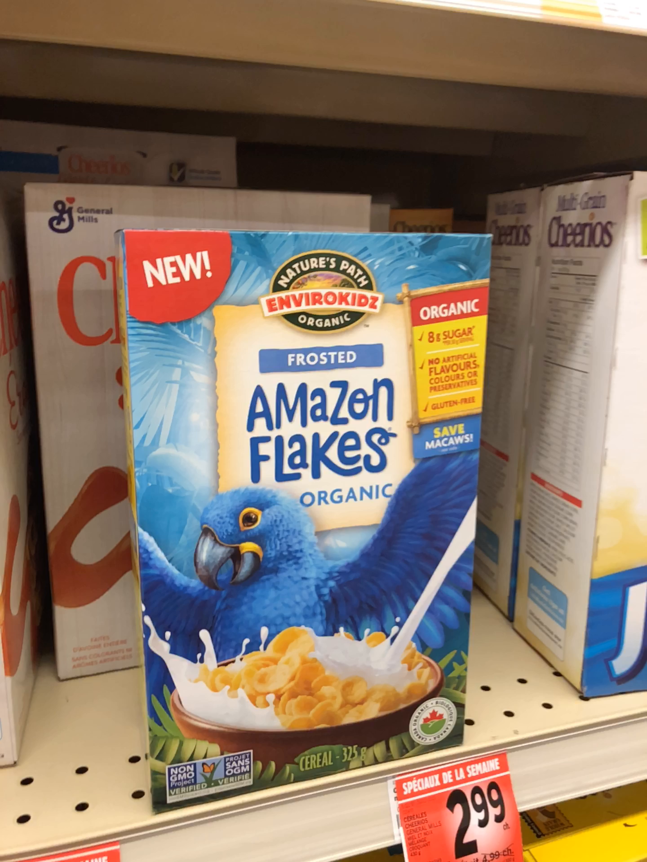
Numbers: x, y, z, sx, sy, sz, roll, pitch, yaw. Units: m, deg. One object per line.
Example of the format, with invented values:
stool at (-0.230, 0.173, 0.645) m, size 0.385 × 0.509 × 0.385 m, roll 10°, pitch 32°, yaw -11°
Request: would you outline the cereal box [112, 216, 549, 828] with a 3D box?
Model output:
cereal box at (0.002, 0.036, 0.322) m, size 0.170 × 0.249 × 0.050 m, roll -4°, pitch 15°, yaw -18°
